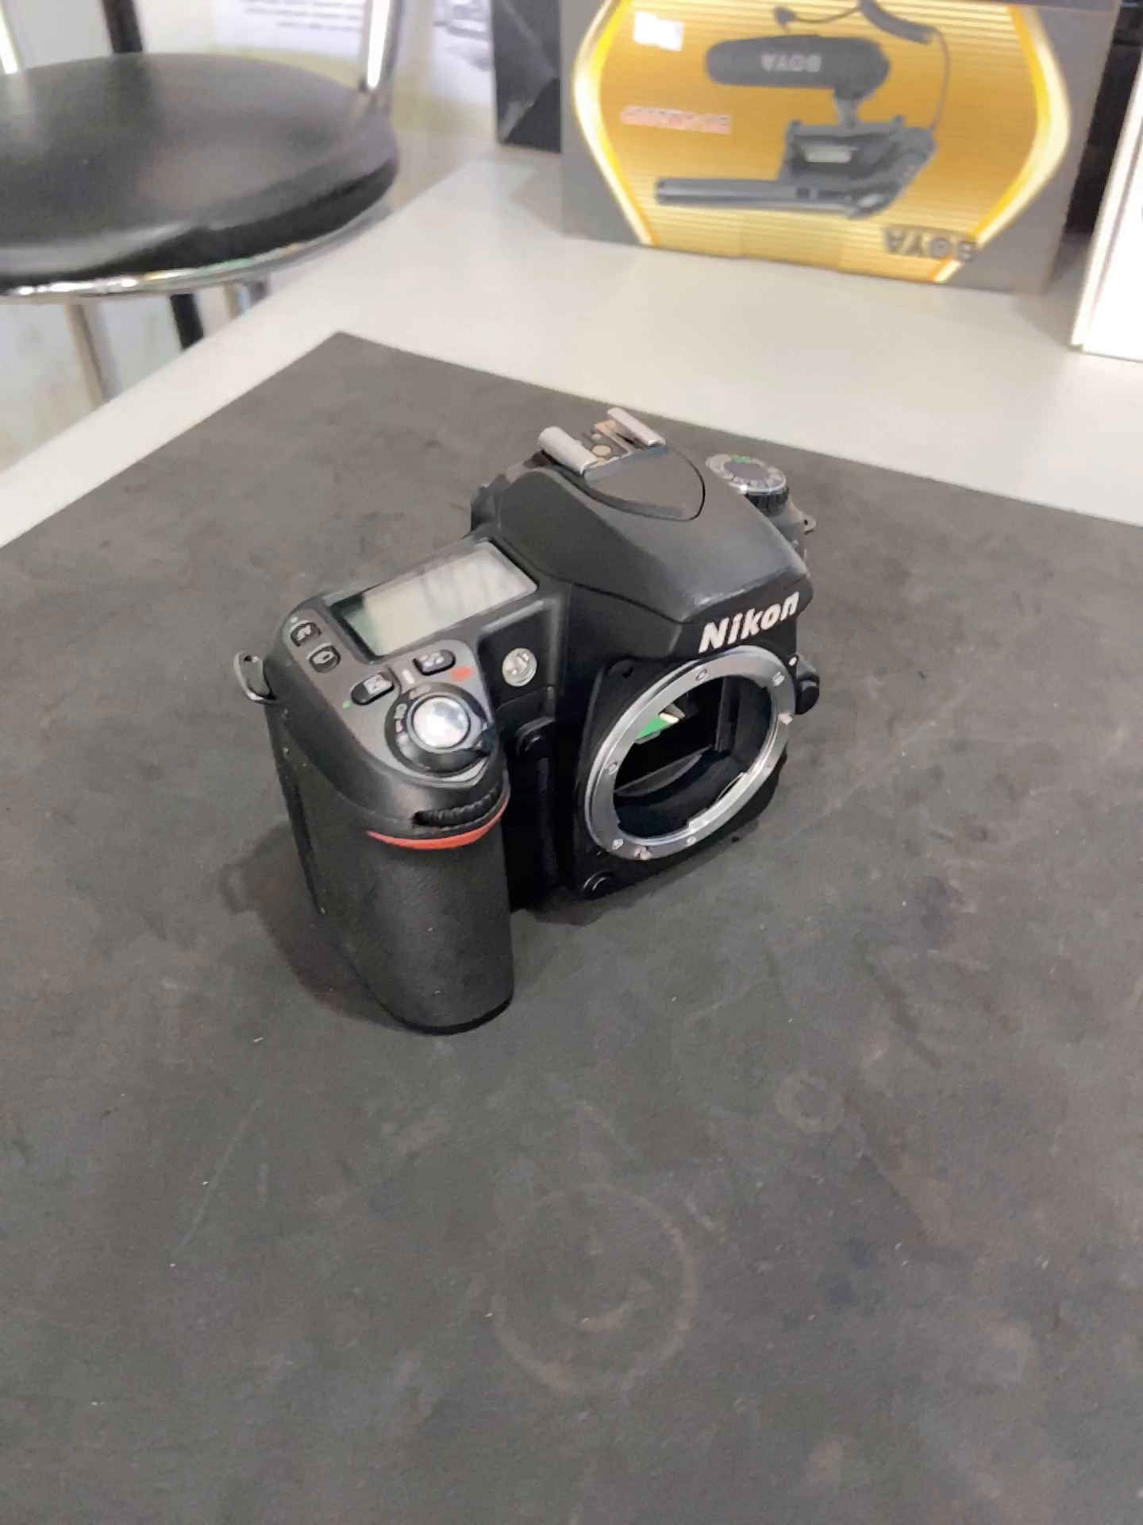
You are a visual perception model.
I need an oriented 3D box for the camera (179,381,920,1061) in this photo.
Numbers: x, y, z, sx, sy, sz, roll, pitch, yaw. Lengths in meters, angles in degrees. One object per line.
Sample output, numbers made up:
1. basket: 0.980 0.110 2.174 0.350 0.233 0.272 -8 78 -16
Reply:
1. camera: -0.003 -0.017 0.284 0.136 0.088 0.084 -26 48 -24
